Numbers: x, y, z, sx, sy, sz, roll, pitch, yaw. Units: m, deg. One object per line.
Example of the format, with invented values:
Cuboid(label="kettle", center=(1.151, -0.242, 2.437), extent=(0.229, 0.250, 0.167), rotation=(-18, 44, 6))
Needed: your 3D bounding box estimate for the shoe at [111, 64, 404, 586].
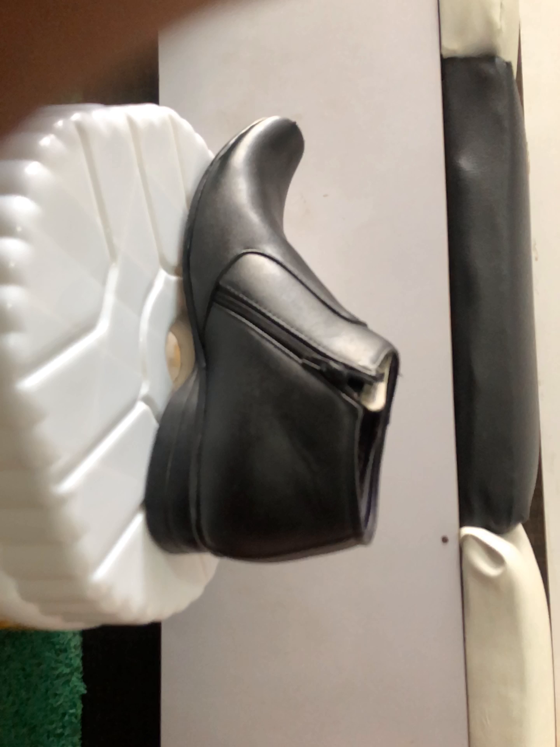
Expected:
Cuboid(label="shoe", center=(0.012, -0.039, 0.394), extent=(0.121, 0.119, 0.310), rotation=(61, 30, -54))
